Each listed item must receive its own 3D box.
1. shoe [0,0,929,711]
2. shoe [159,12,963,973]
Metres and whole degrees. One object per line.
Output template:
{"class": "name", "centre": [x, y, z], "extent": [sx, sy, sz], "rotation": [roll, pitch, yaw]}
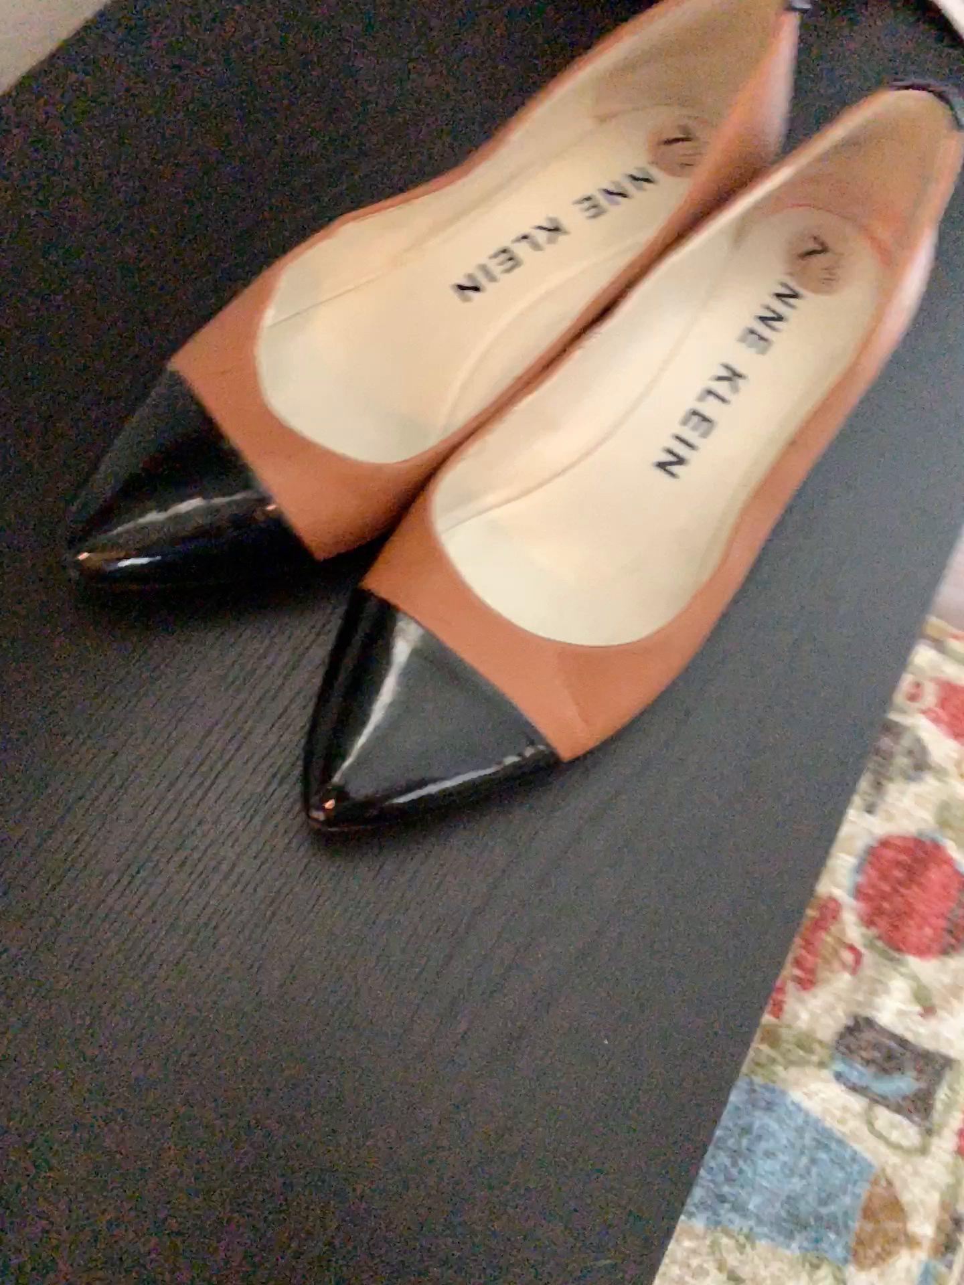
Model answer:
{"class": "shoe", "centre": [-0.008, -0.104, 0.281], "extent": [0.261, 0.080, 0.092], "rotation": [-36, 77, -19]}
{"class": "shoe", "centre": [0.049, -0.046, 0.280], "extent": [0.092, 0.100, 0.261], "rotation": [39, 68, 9]}
